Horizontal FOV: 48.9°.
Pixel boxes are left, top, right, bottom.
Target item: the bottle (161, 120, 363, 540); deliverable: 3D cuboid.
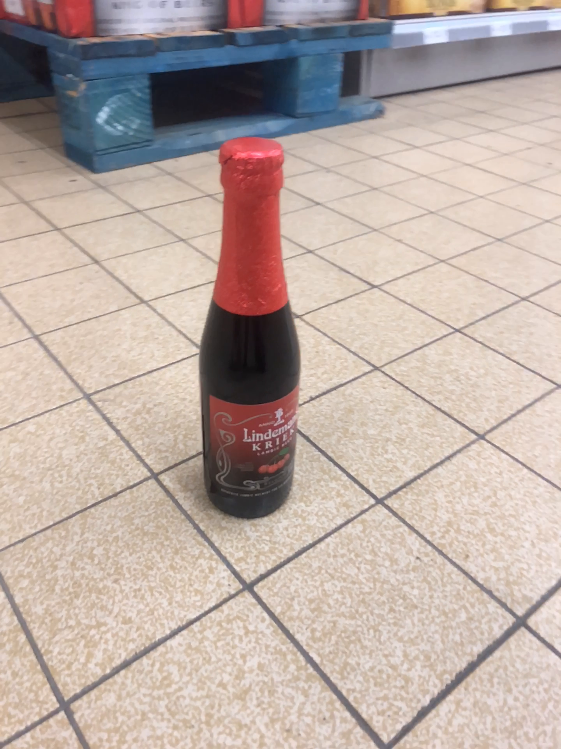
[{"bbox_3d":[-0.011,-0.015,0.316,0.060,0.199,0.060,1,35,-1],"label":"bottle"}]
